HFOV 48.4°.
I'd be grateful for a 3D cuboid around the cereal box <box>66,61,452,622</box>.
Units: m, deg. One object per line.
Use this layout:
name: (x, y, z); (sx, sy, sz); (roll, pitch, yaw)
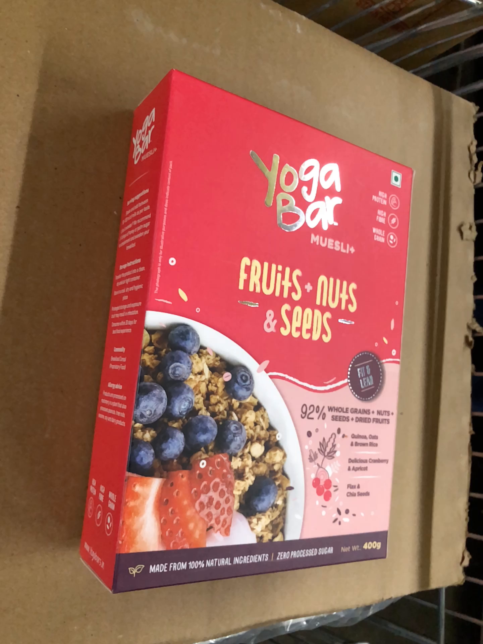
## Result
cereal box: (0.019, 0.014, 0.271); (0.170, 0.060, 0.210); (9, 84, -33)
